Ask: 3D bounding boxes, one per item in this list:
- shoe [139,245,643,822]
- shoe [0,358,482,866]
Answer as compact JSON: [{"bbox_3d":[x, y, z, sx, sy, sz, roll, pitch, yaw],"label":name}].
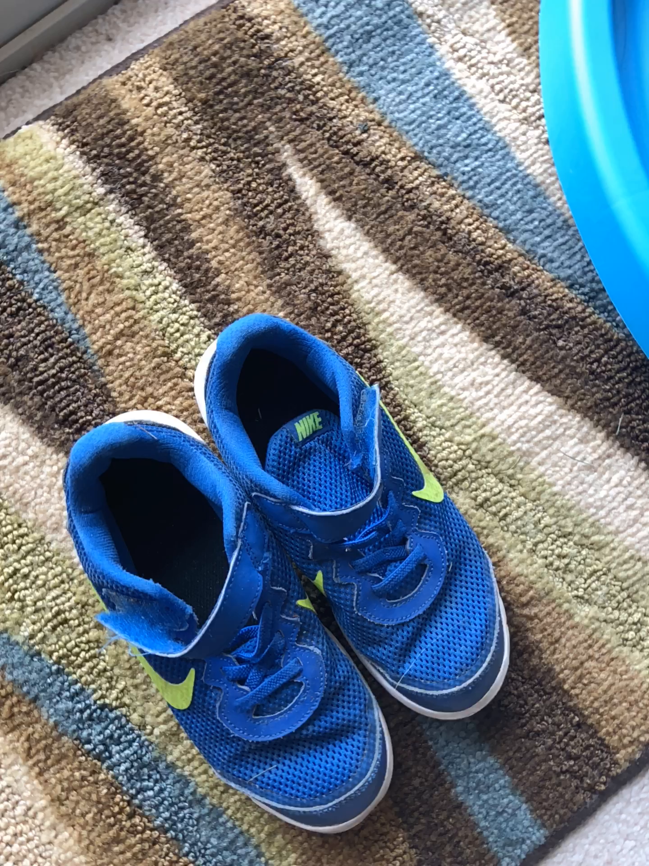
[{"bbox_3d":[0.026,0.042,0.347,0.103,0.075,0.230,-35,86,-10],"label":"shoe"},{"bbox_3d":[-0.044,0.097,0.332,0.102,0.075,0.233,-32,86,-9],"label":"shoe"}]
